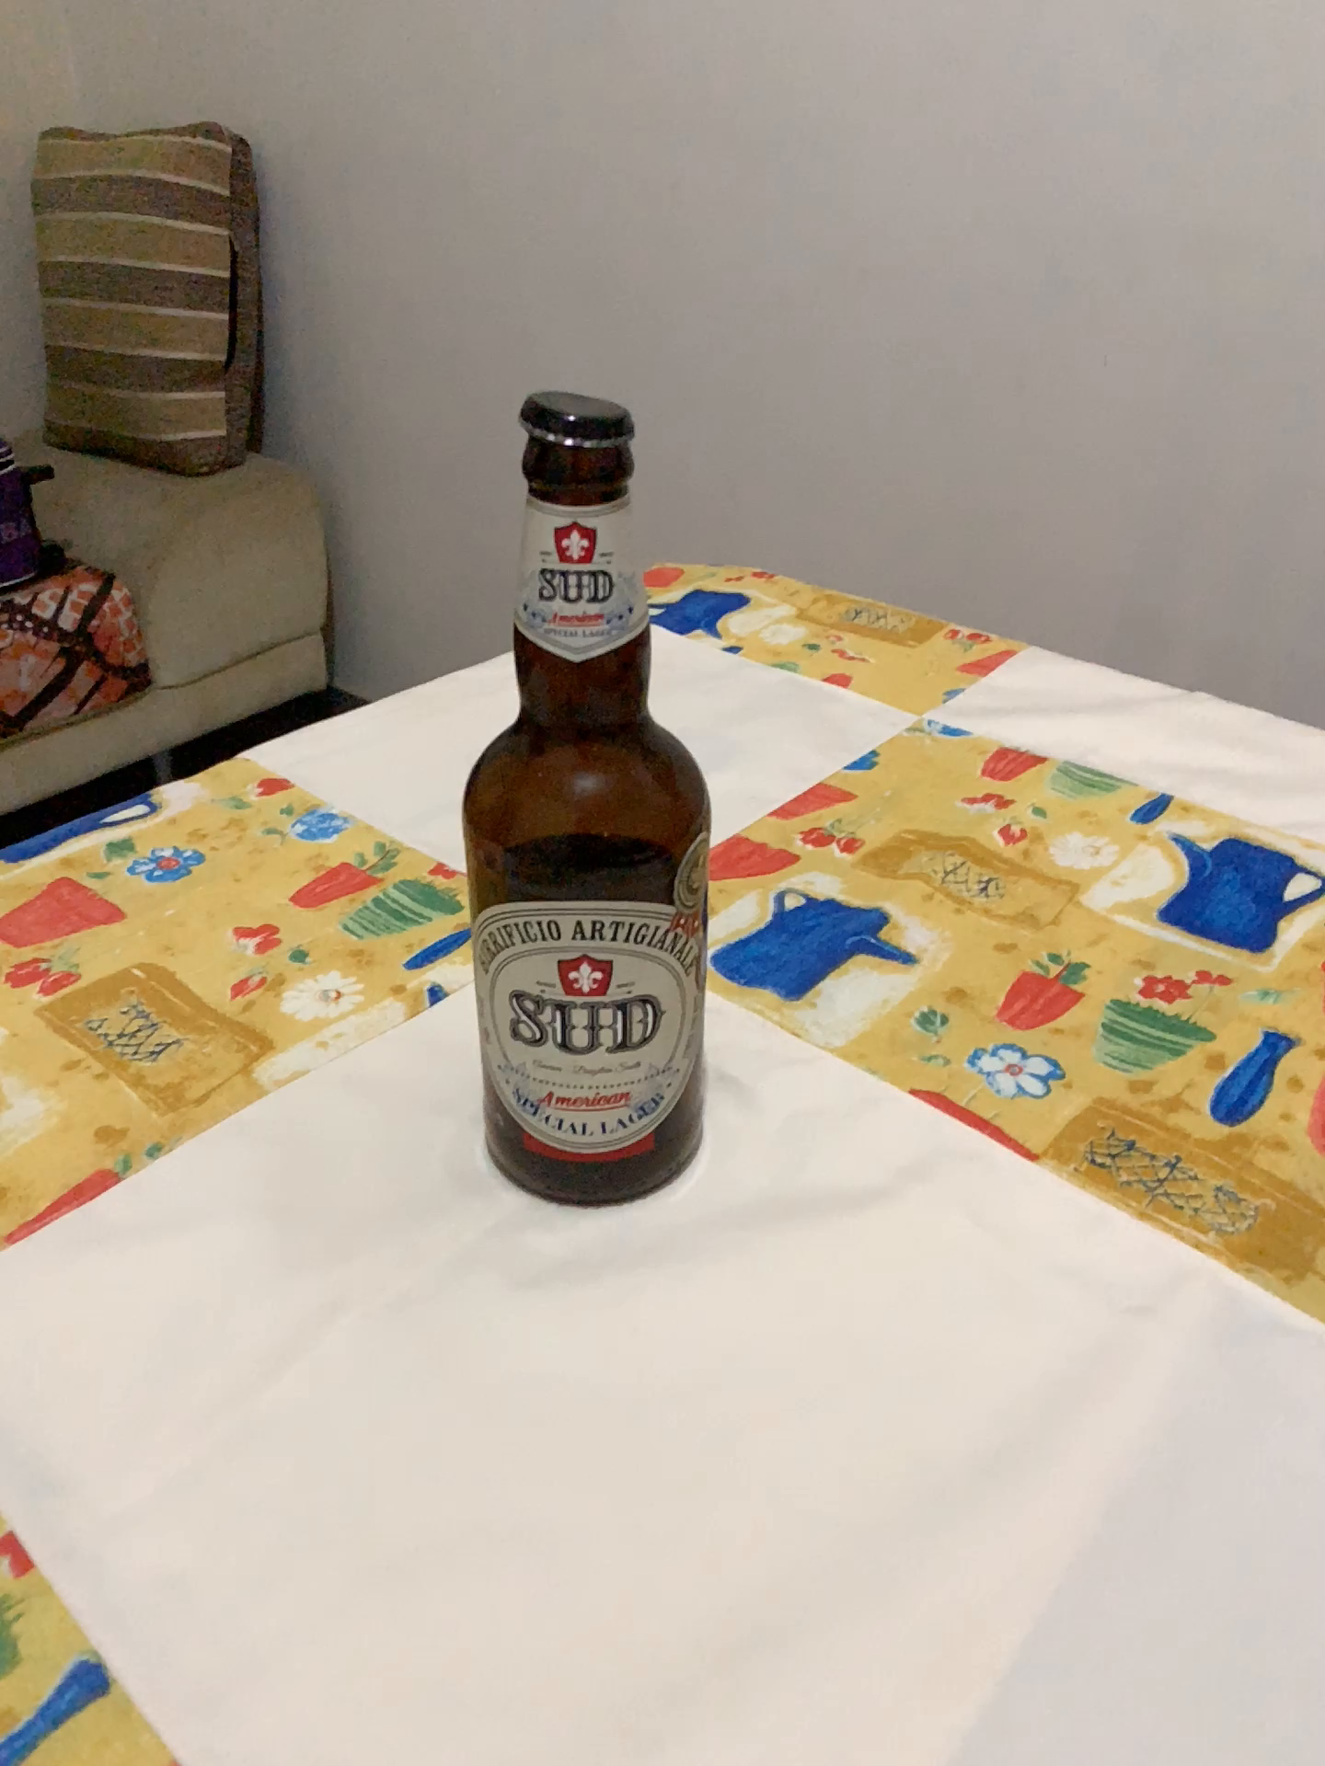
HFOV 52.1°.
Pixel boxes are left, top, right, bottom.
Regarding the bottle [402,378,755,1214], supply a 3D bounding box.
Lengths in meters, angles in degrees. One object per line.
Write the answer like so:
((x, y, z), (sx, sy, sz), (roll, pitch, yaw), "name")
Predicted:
((-0.022, -0.016, 0.399), (0.080, 0.239, 0.070), (0, 31, -2), "bottle")
